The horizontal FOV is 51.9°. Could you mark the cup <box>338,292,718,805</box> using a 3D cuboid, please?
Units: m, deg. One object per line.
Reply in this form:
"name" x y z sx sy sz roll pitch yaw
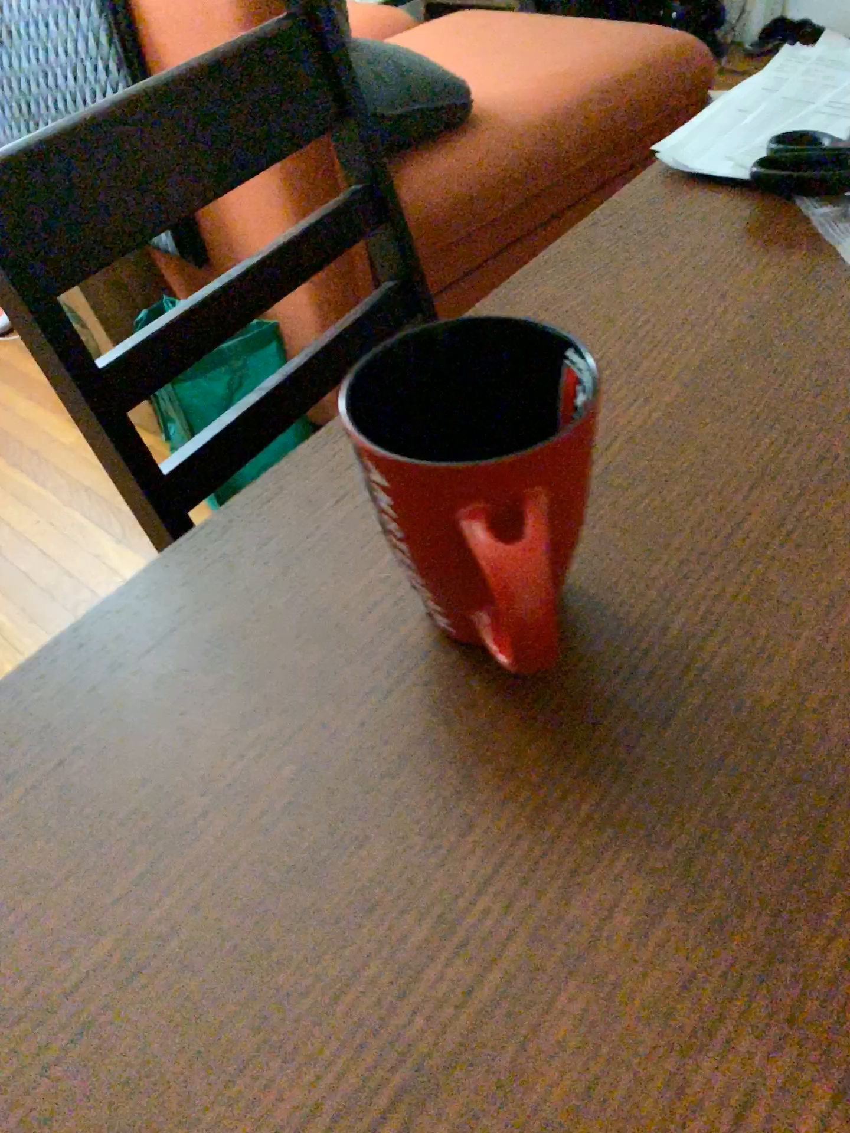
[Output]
"cup" 0.027 -0.009 0.299 0.090 0.099 0.131 -10 44 1
